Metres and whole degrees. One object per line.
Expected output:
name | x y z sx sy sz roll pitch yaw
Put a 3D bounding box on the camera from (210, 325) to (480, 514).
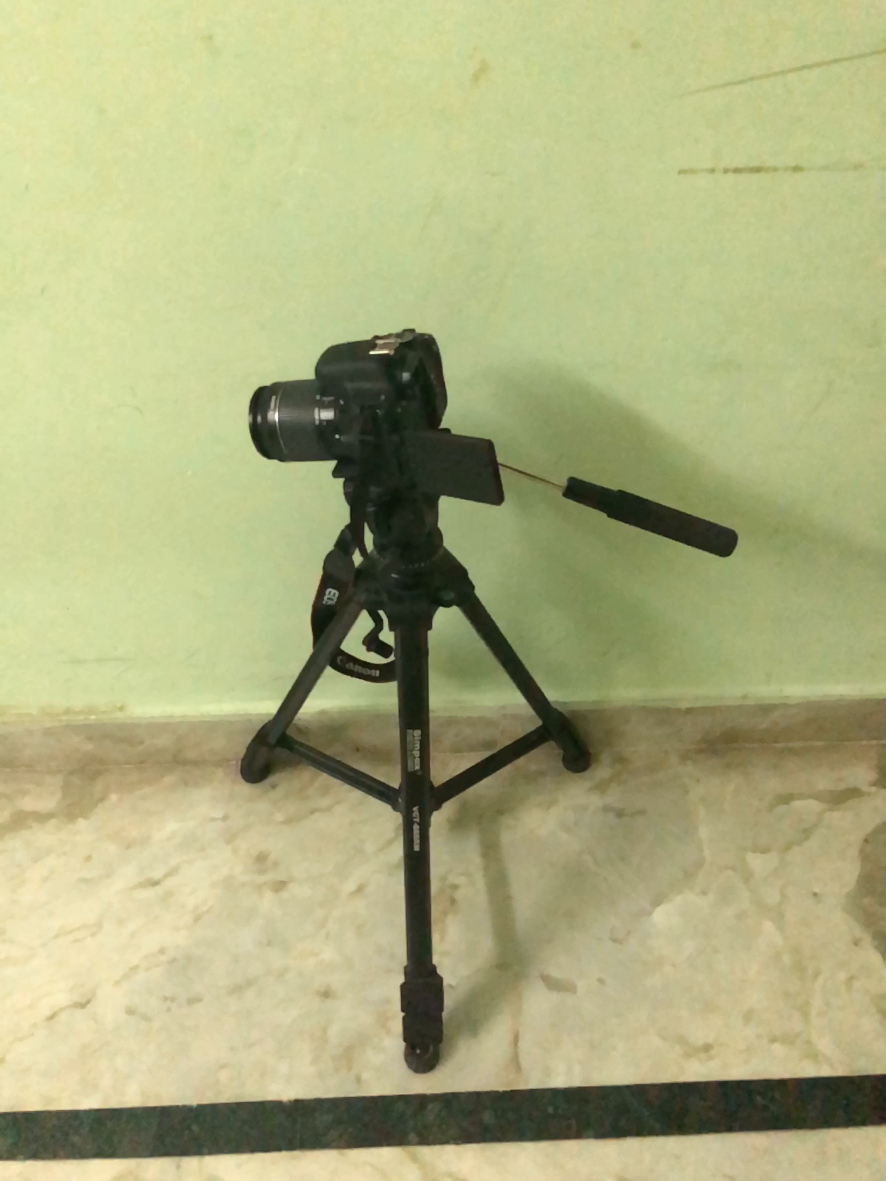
camera | -0.074 -0.144 0.818 0.190 0.099 0.131 1 42 10
